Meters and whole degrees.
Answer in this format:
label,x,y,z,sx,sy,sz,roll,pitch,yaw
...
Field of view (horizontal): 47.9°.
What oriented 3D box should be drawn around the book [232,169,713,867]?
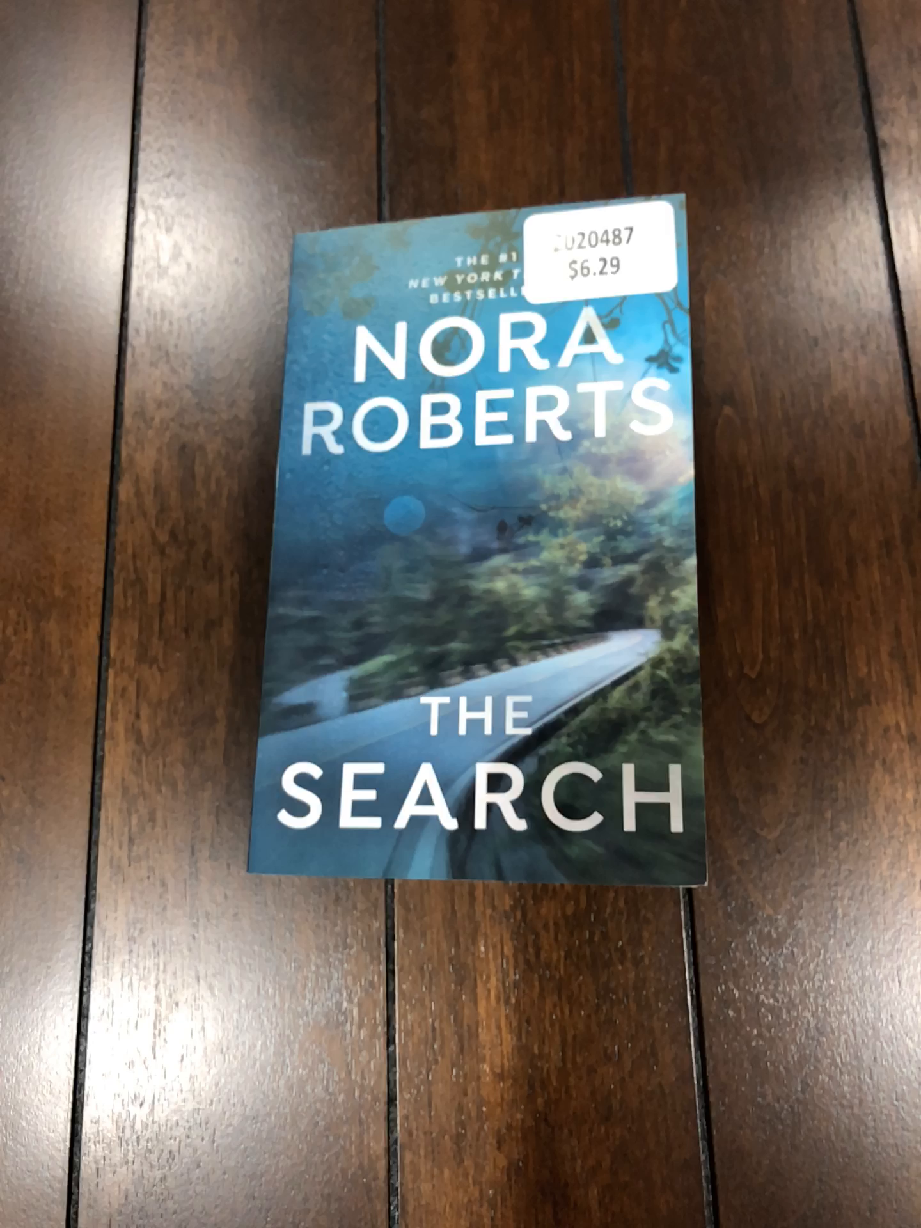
label,x,y,z,sx,sy,sz,roll,pitch,yaw
book,0.008,-0.023,0.274,0.108,0.050,0.170,-1,75,11
